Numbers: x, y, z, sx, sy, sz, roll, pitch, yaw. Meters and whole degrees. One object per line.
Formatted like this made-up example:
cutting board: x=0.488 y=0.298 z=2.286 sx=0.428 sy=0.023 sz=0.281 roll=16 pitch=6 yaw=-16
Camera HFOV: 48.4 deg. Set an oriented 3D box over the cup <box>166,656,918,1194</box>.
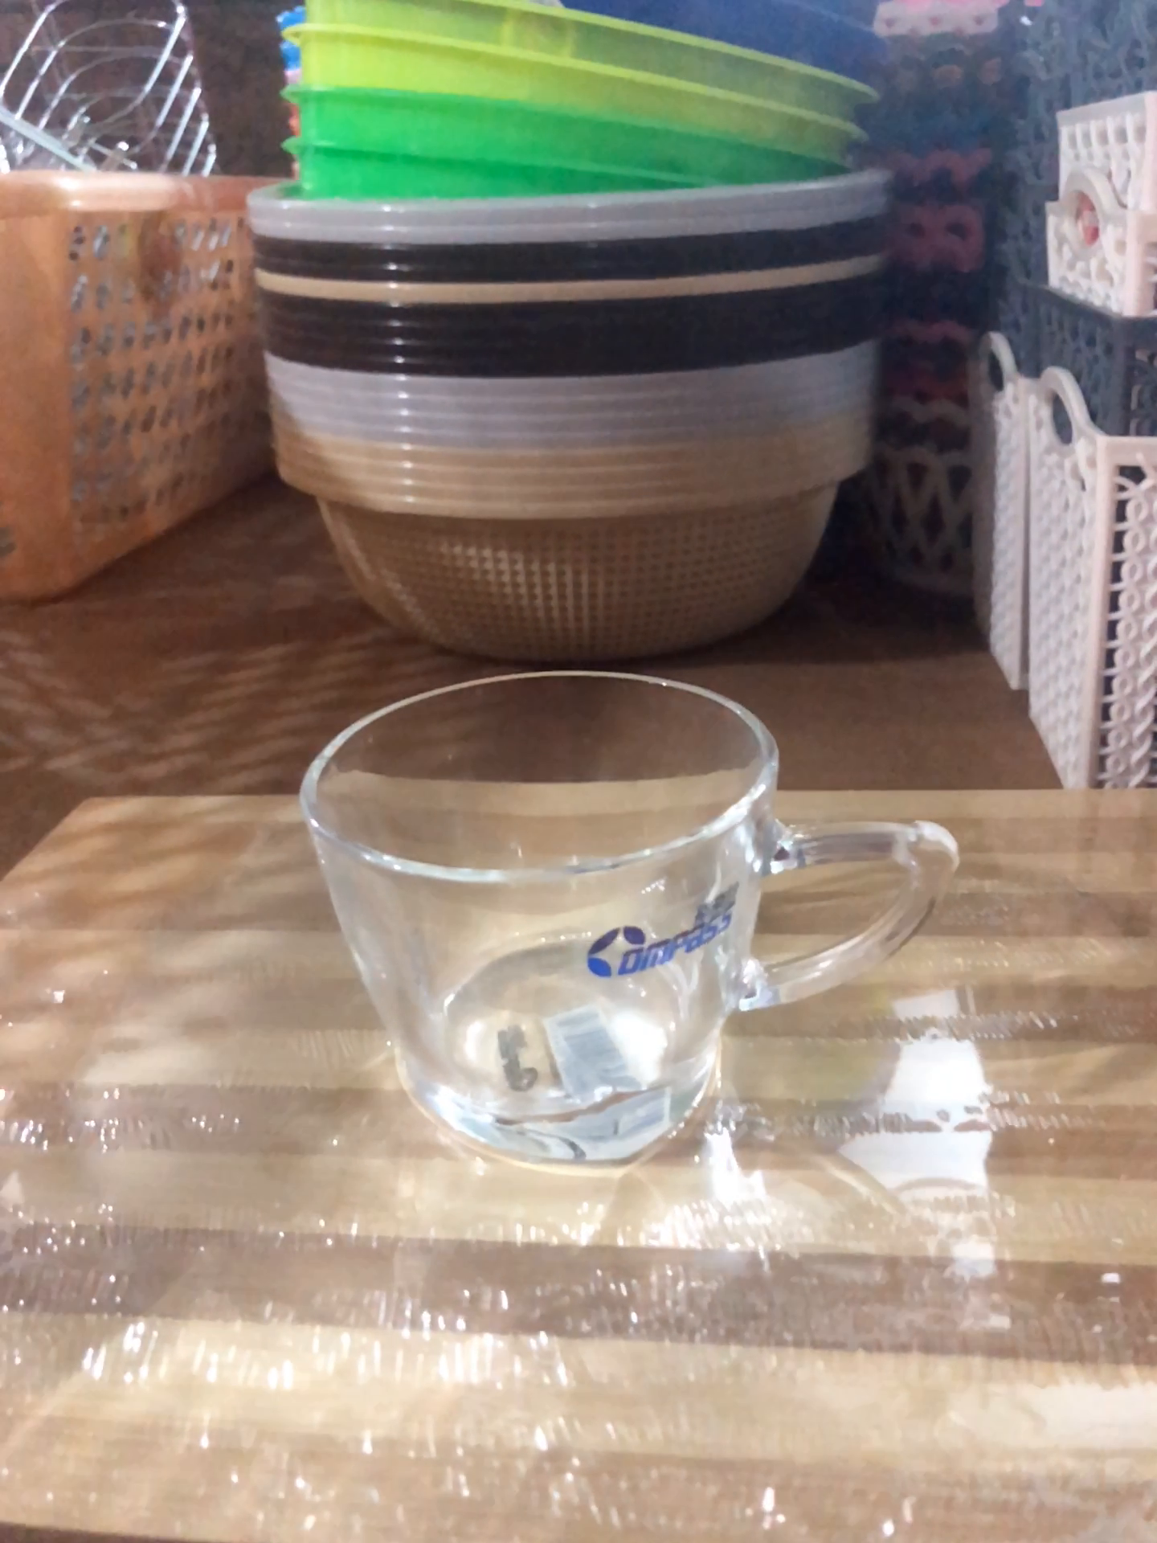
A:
cup: x=0.000 y=0.021 z=0.227 sx=0.110 sy=0.060 sz=0.070 roll=2 pitch=26 yaw=12
